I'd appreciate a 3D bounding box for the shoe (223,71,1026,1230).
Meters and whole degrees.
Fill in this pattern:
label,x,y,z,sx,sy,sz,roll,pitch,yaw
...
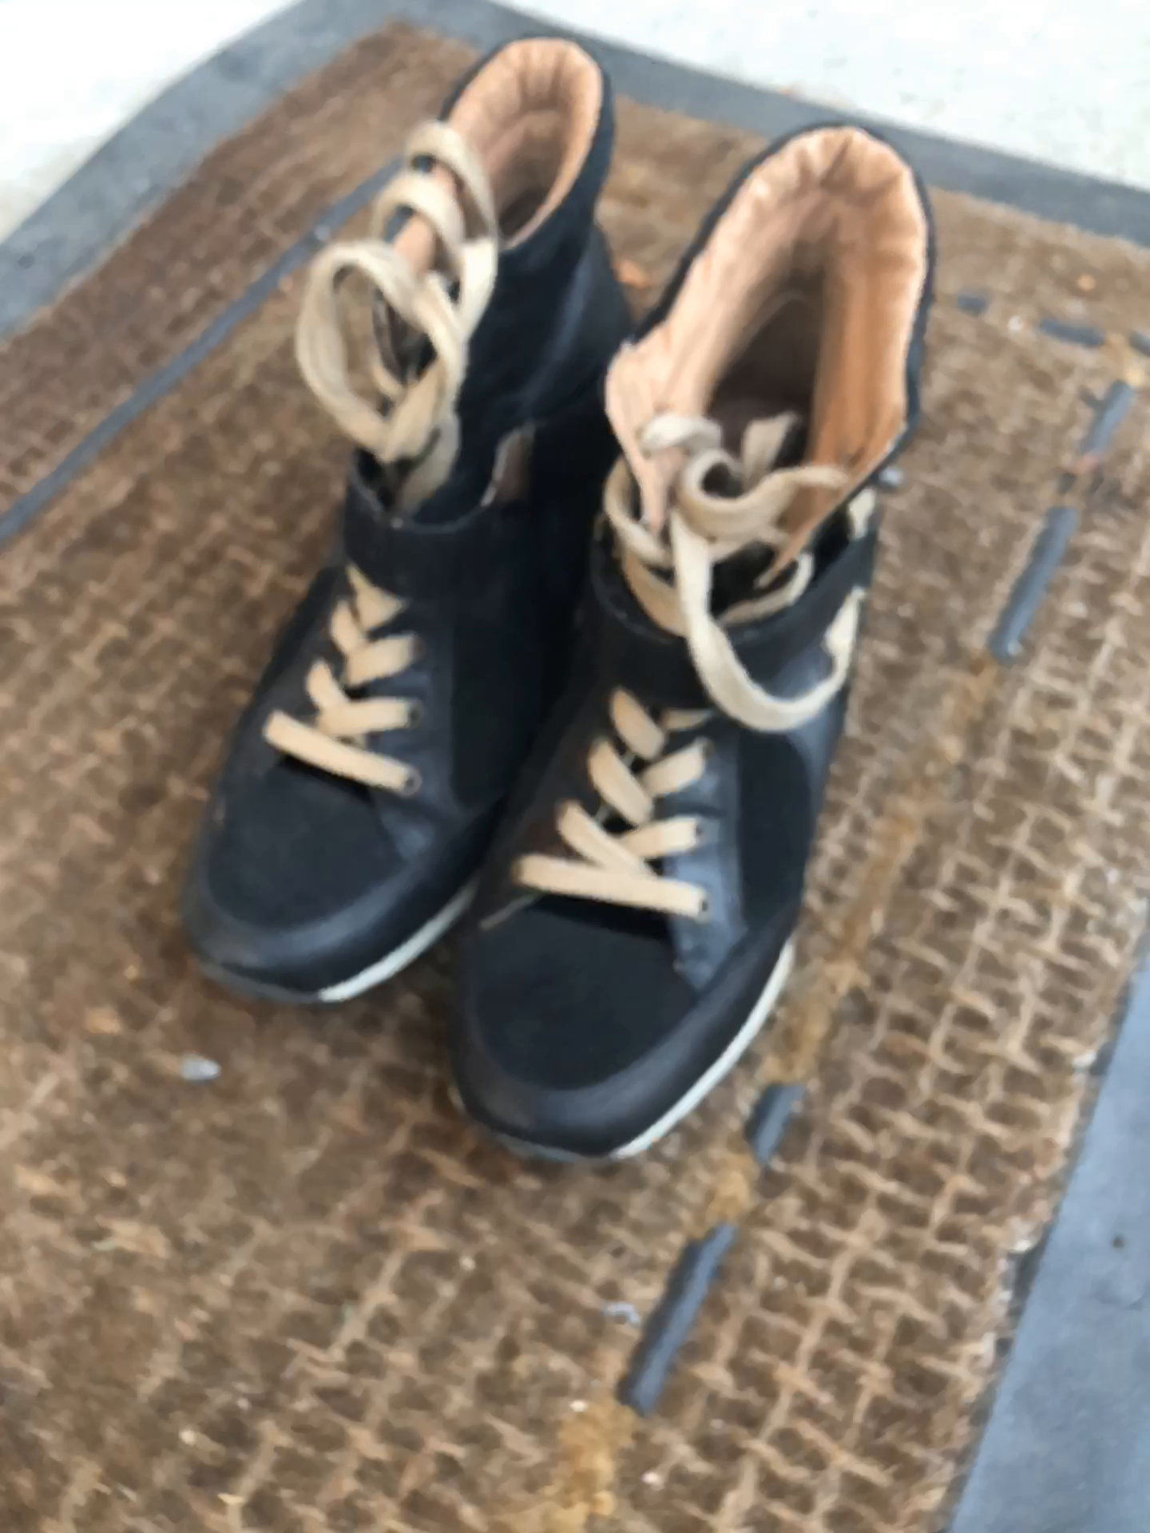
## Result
label,x,y,z,sx,sy,sz,roll,pitch,yaw
shoe,0.029,-0.033,0.337,0.090,0.159,0.241,17,59,14

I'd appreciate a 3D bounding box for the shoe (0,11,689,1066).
label,x,y,z,sx,sy,sz,roll,pitch,yaw
shoe,-0.050,-0.064,0.361,0.090,0.159,0.231,17,59,14
